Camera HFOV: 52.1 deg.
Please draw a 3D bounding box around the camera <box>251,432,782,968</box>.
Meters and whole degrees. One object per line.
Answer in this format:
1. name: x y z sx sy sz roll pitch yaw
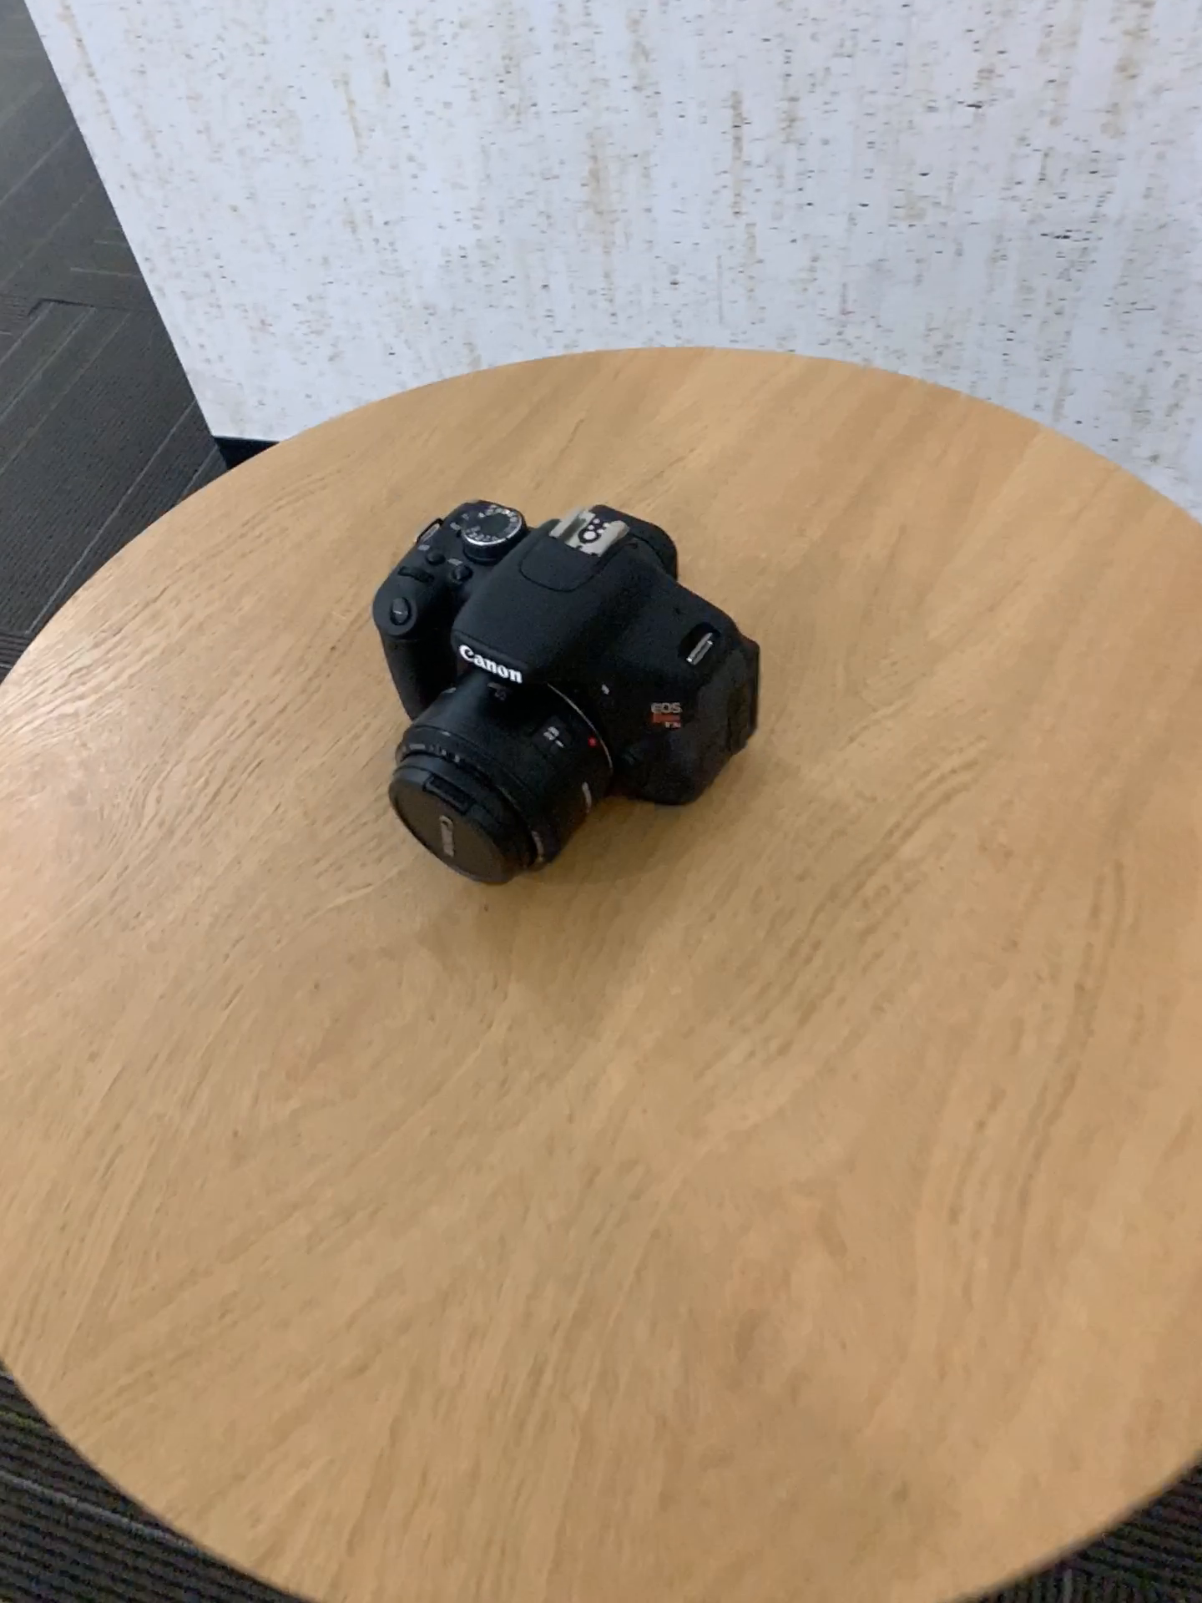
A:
1. camera: -0.023 -0.038 0.440 0.130 0.100 0.117 26 61 22
